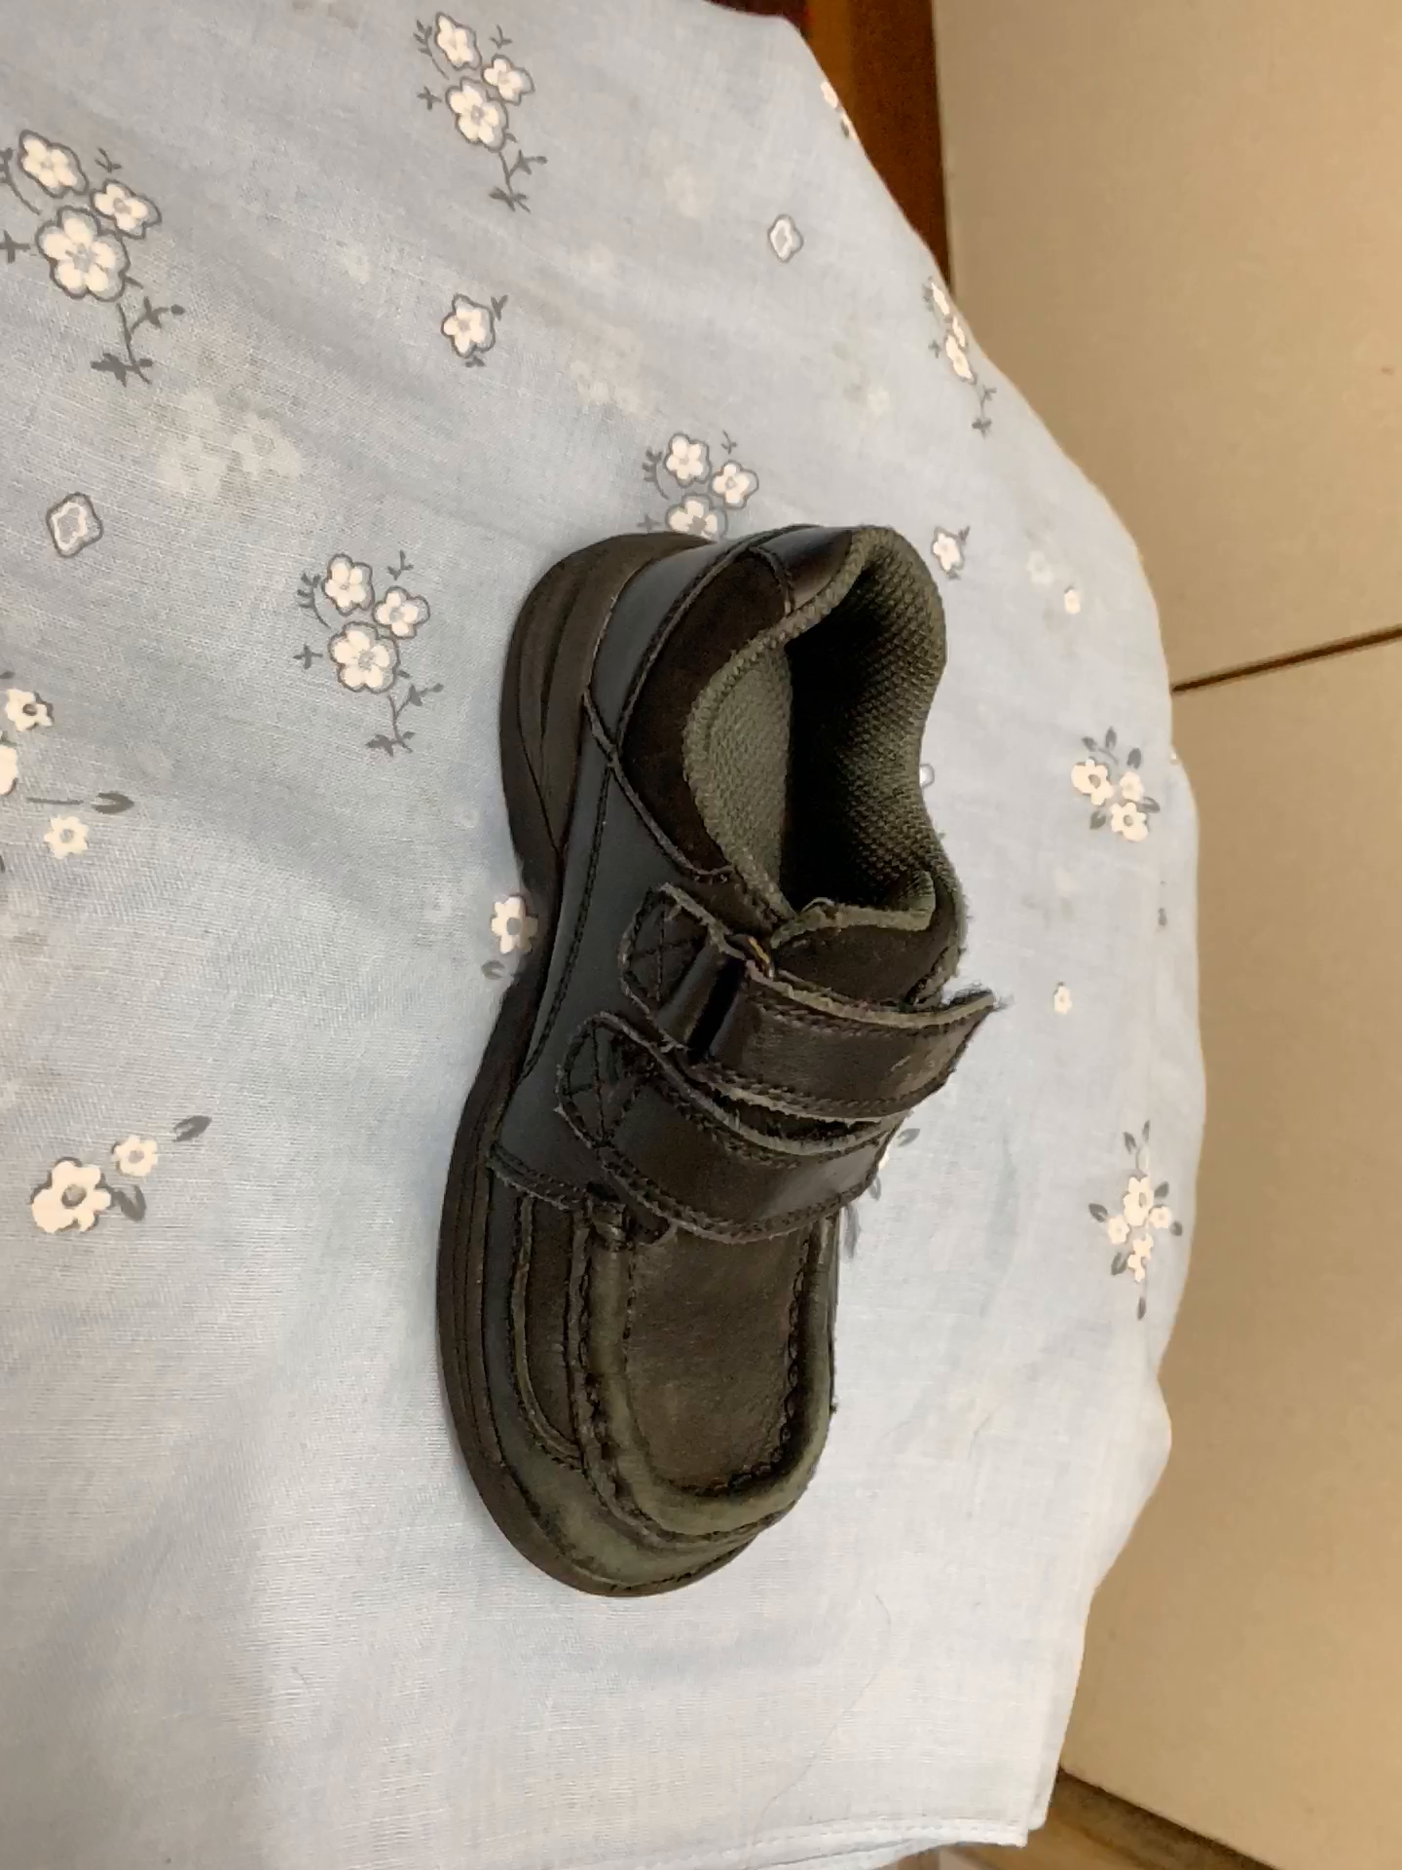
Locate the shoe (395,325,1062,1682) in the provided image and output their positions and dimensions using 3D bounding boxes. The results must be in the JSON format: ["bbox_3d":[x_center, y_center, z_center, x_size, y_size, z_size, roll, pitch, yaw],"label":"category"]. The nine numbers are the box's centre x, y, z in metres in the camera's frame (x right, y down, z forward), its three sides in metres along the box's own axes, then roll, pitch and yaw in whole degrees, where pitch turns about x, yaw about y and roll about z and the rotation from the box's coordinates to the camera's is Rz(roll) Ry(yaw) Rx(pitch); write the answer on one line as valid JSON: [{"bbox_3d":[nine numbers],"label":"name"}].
[{"bbox_3d":[0.007,0.011,0.254,0.079,0.073,0.190,9,80,-36],"label":"shoe"}]
